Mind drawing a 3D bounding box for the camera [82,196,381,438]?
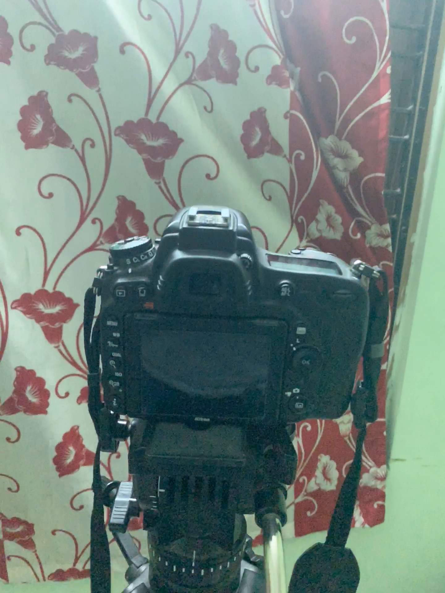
[{"bbox_3d":[0.001,0.000,0.289,0.139,0.112,0.129,3,14,-1],"label":"camera"}]
